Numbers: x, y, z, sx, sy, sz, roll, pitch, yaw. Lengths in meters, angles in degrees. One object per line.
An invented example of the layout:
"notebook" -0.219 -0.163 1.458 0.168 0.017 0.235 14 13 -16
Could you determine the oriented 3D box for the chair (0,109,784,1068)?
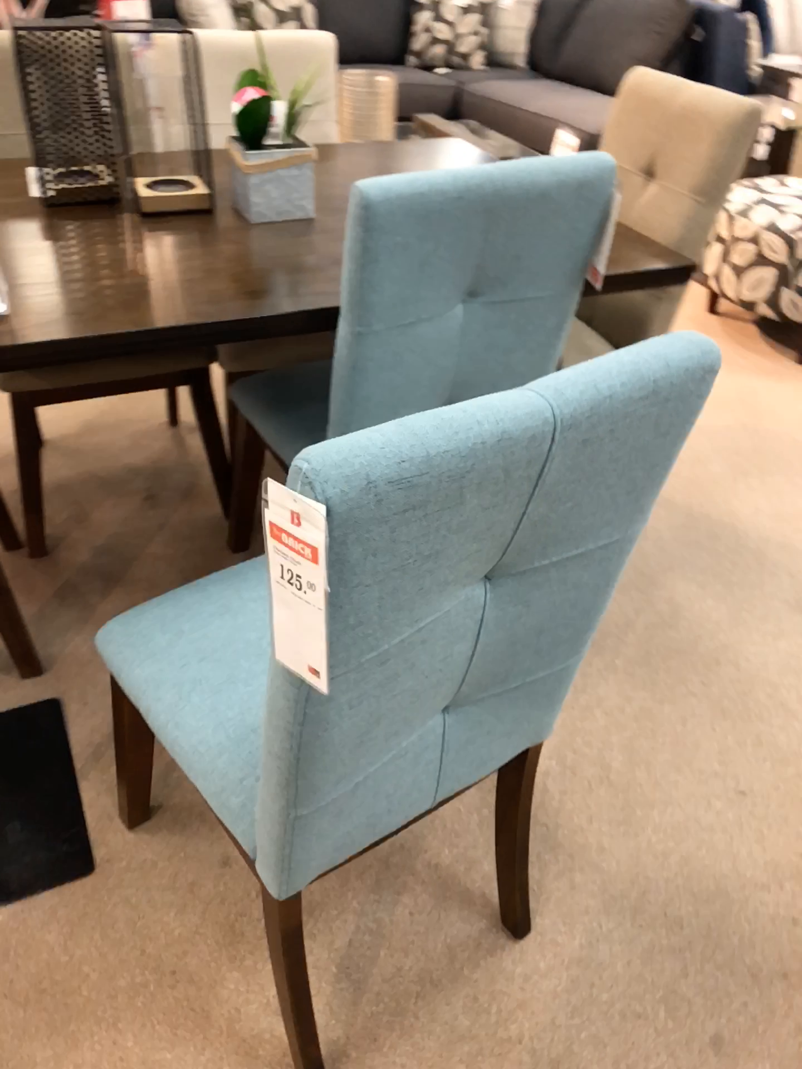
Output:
"chair" -0.118 0.104 1.085 0.541 0.993 0.623 -21 45 -30
